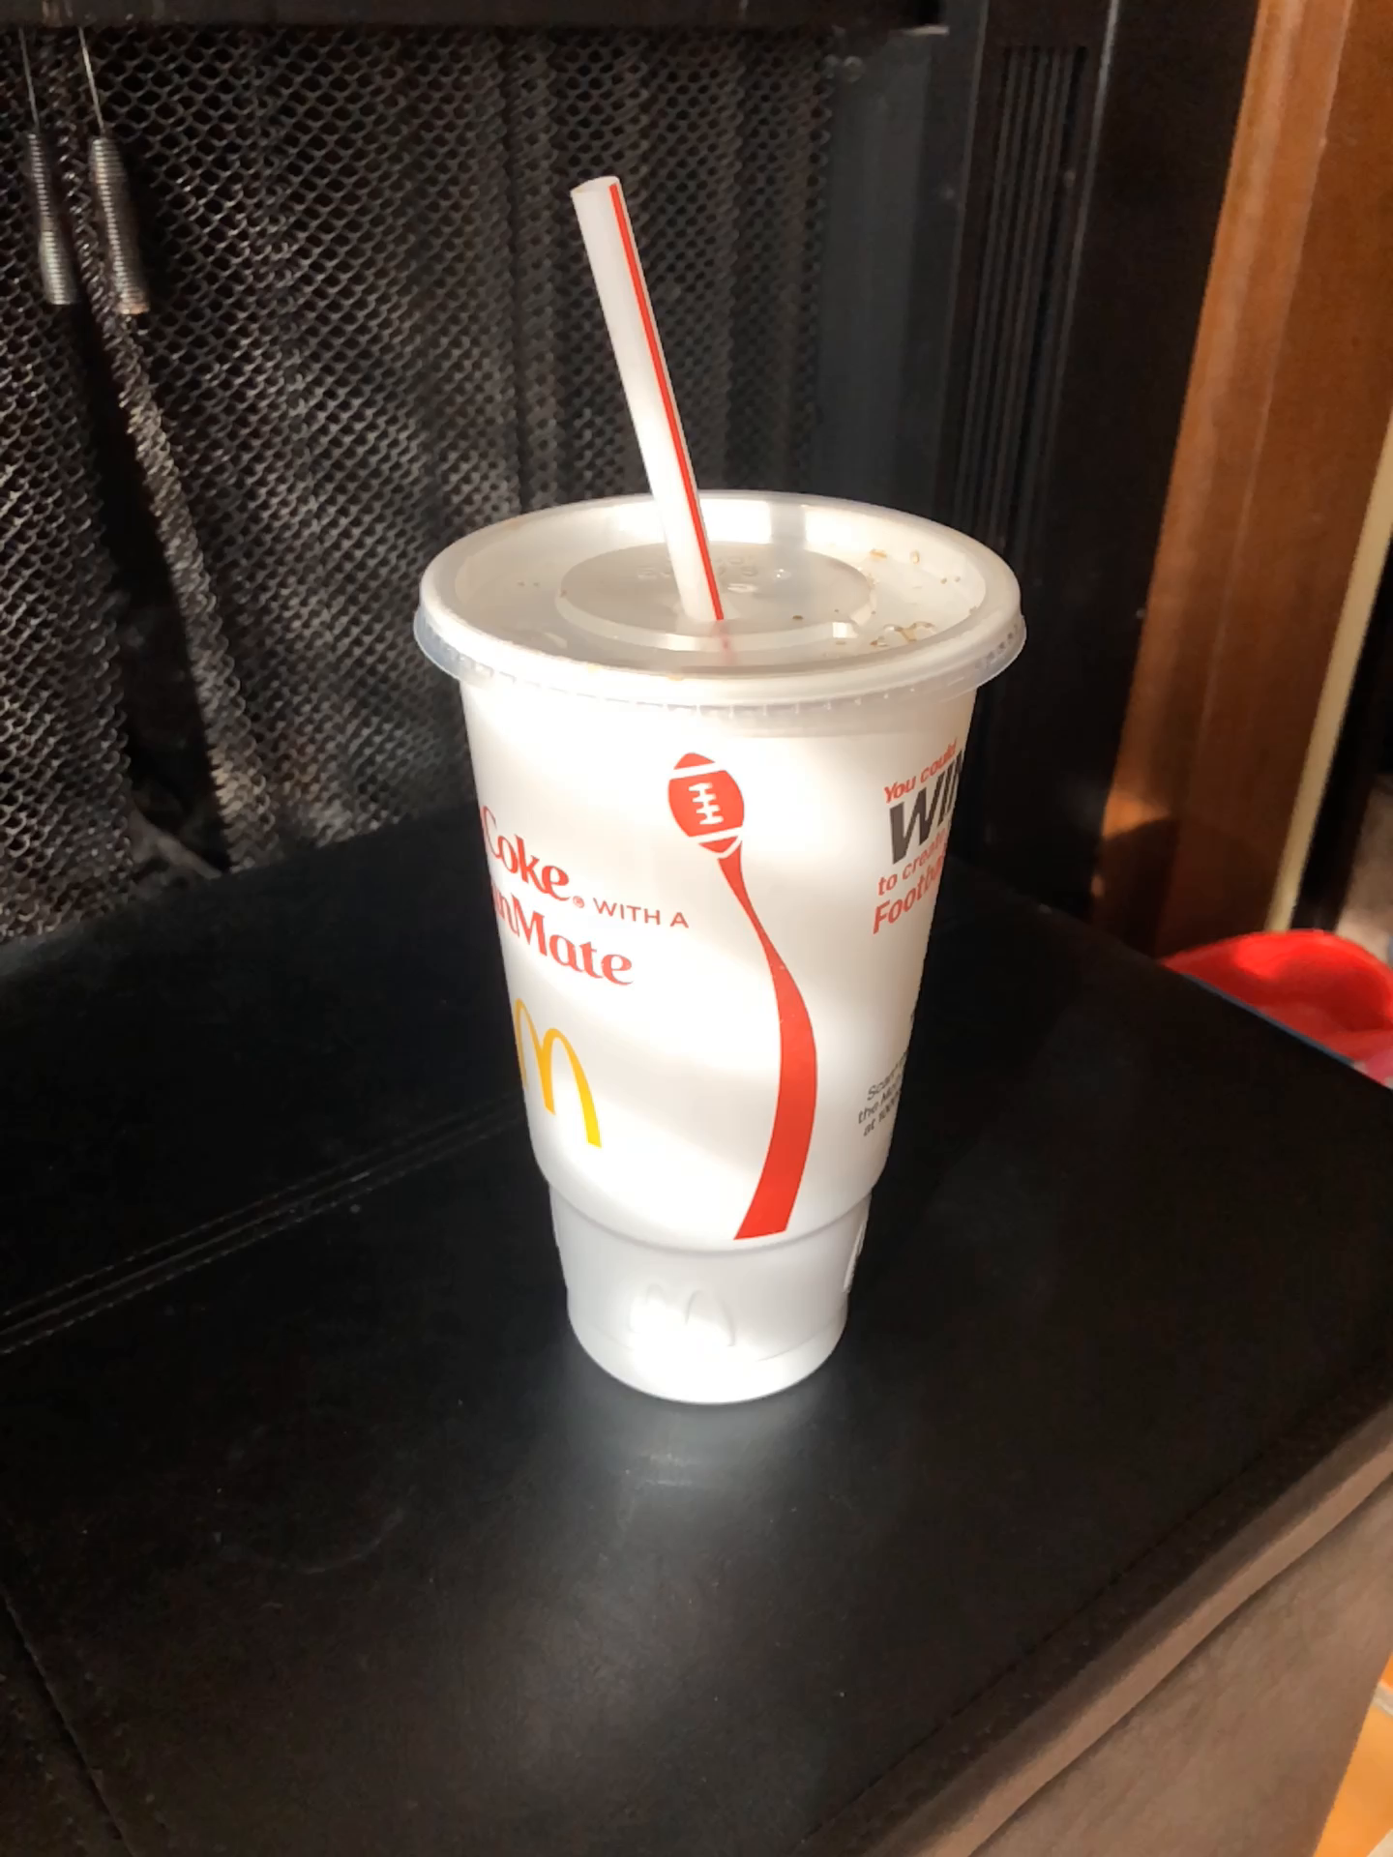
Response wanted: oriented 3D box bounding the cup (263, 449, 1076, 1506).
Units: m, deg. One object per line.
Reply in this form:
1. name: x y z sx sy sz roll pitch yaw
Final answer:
1. cup: 0.004 0.002 0.302 0.110 0.150 0.120 1 32 -1
